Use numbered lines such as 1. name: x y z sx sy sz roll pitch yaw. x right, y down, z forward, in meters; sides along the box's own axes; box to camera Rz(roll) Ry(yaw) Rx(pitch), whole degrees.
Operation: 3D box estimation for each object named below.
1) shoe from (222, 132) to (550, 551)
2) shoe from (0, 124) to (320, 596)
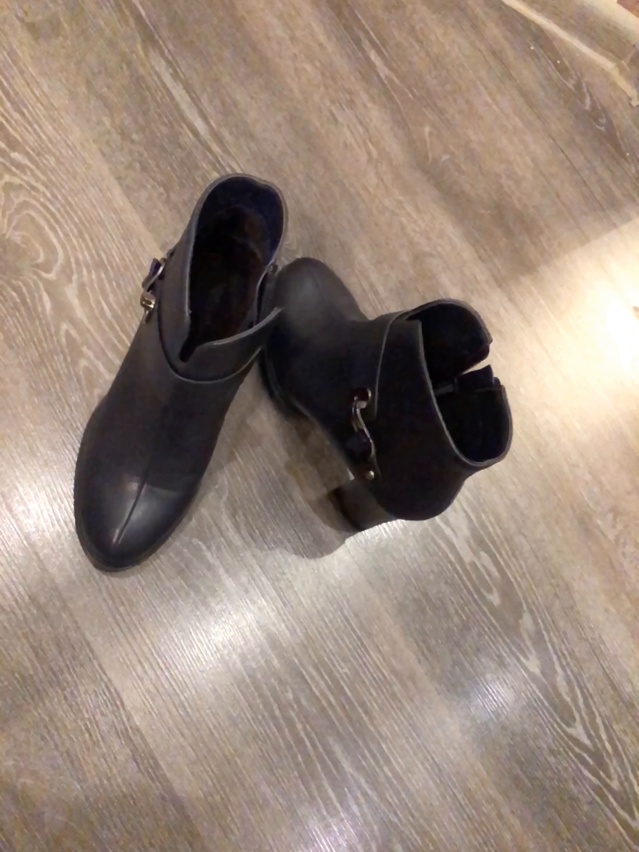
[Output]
1. shoe: 0.024 -0.041 0.475 0.090 0.190 0.210 -16 79 -21
2. shoe: -0.096 -0.020 0.421 0.090 0.190 0.210 20 69 -11
